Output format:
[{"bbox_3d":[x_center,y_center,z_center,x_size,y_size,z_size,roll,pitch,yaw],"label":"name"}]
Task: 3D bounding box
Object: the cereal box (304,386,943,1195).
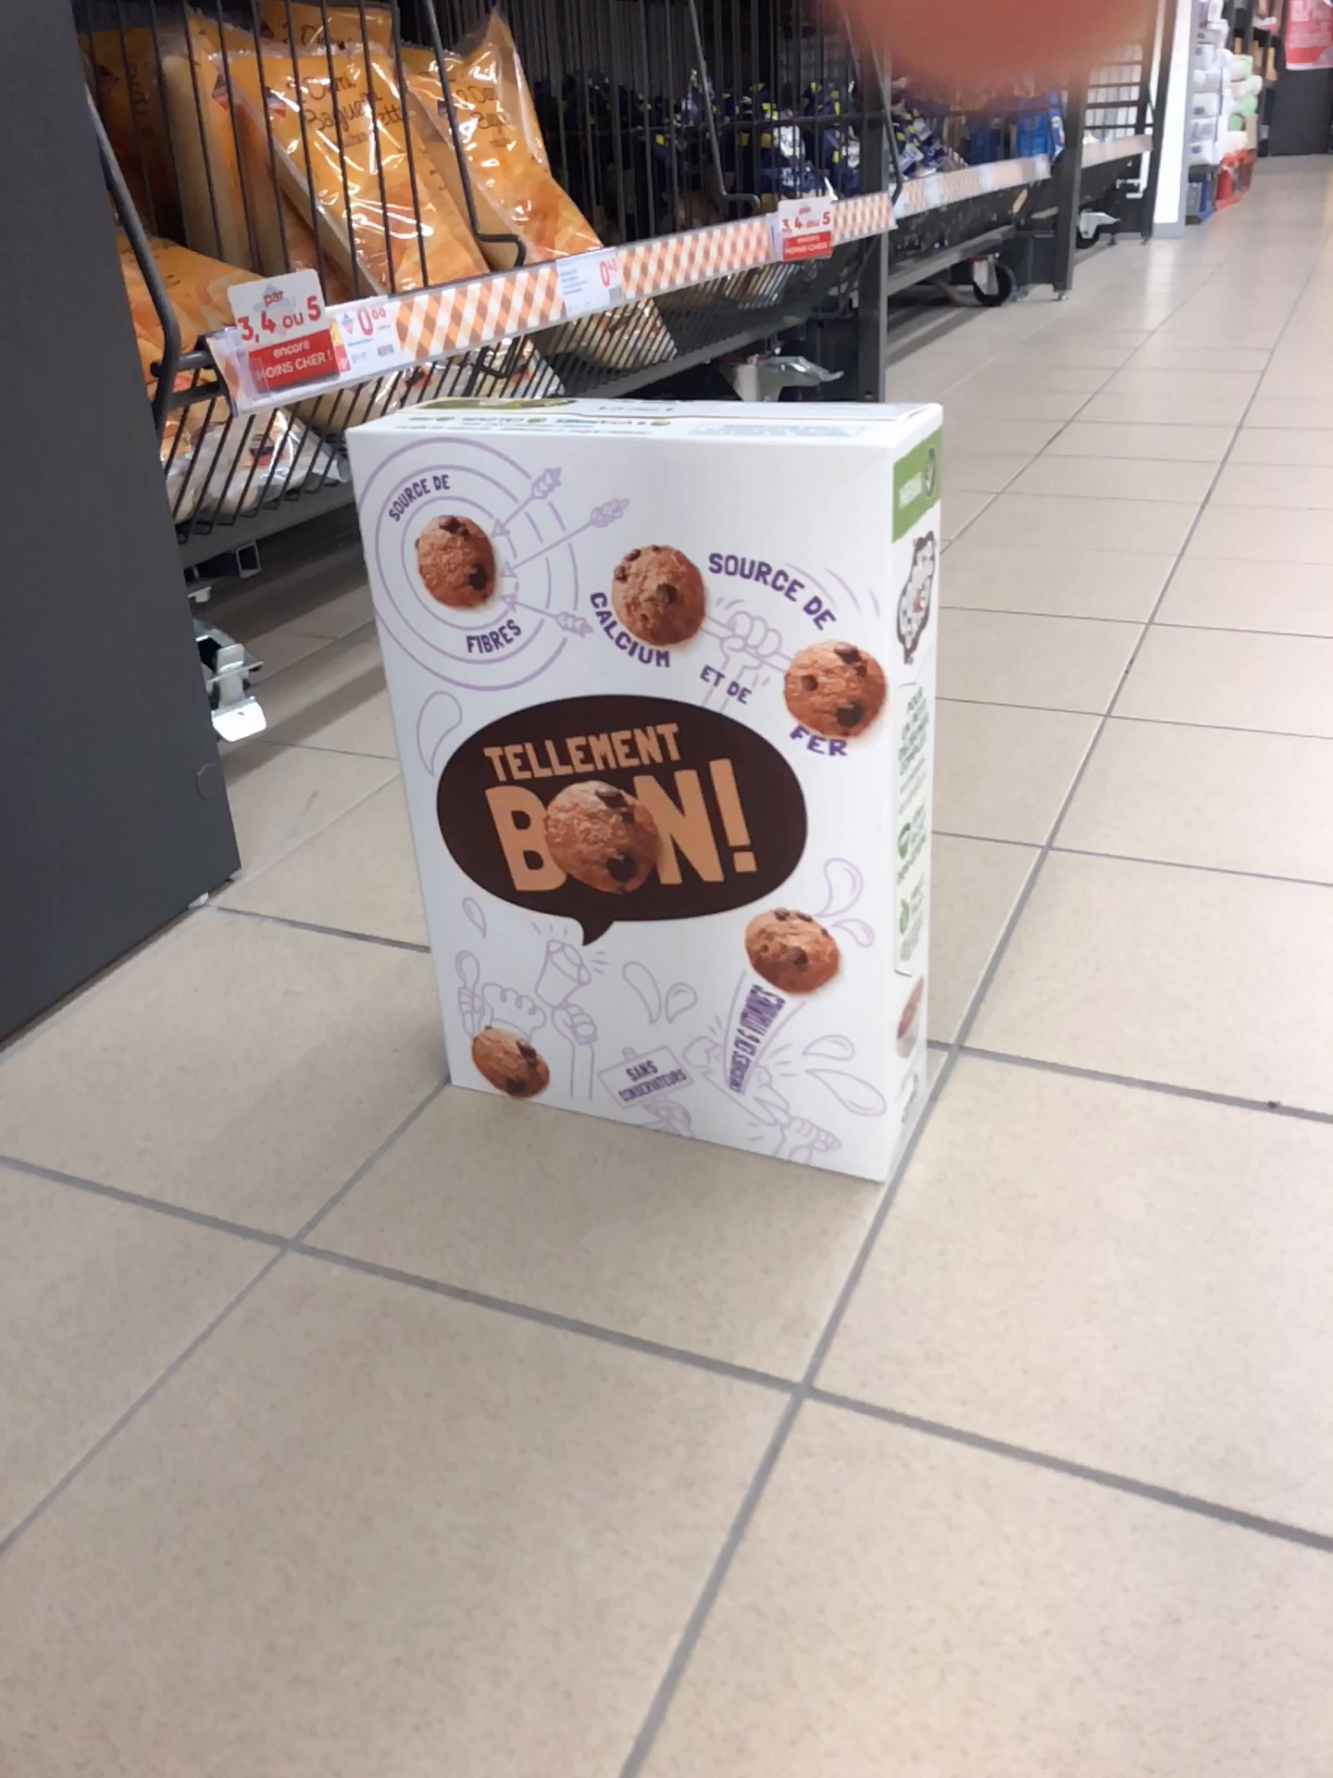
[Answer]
[{"bbox_3d":[-0.011,-0.036,0.531,0.200,0.268,0.060,9,29,21],"label":"cereal box"}]
